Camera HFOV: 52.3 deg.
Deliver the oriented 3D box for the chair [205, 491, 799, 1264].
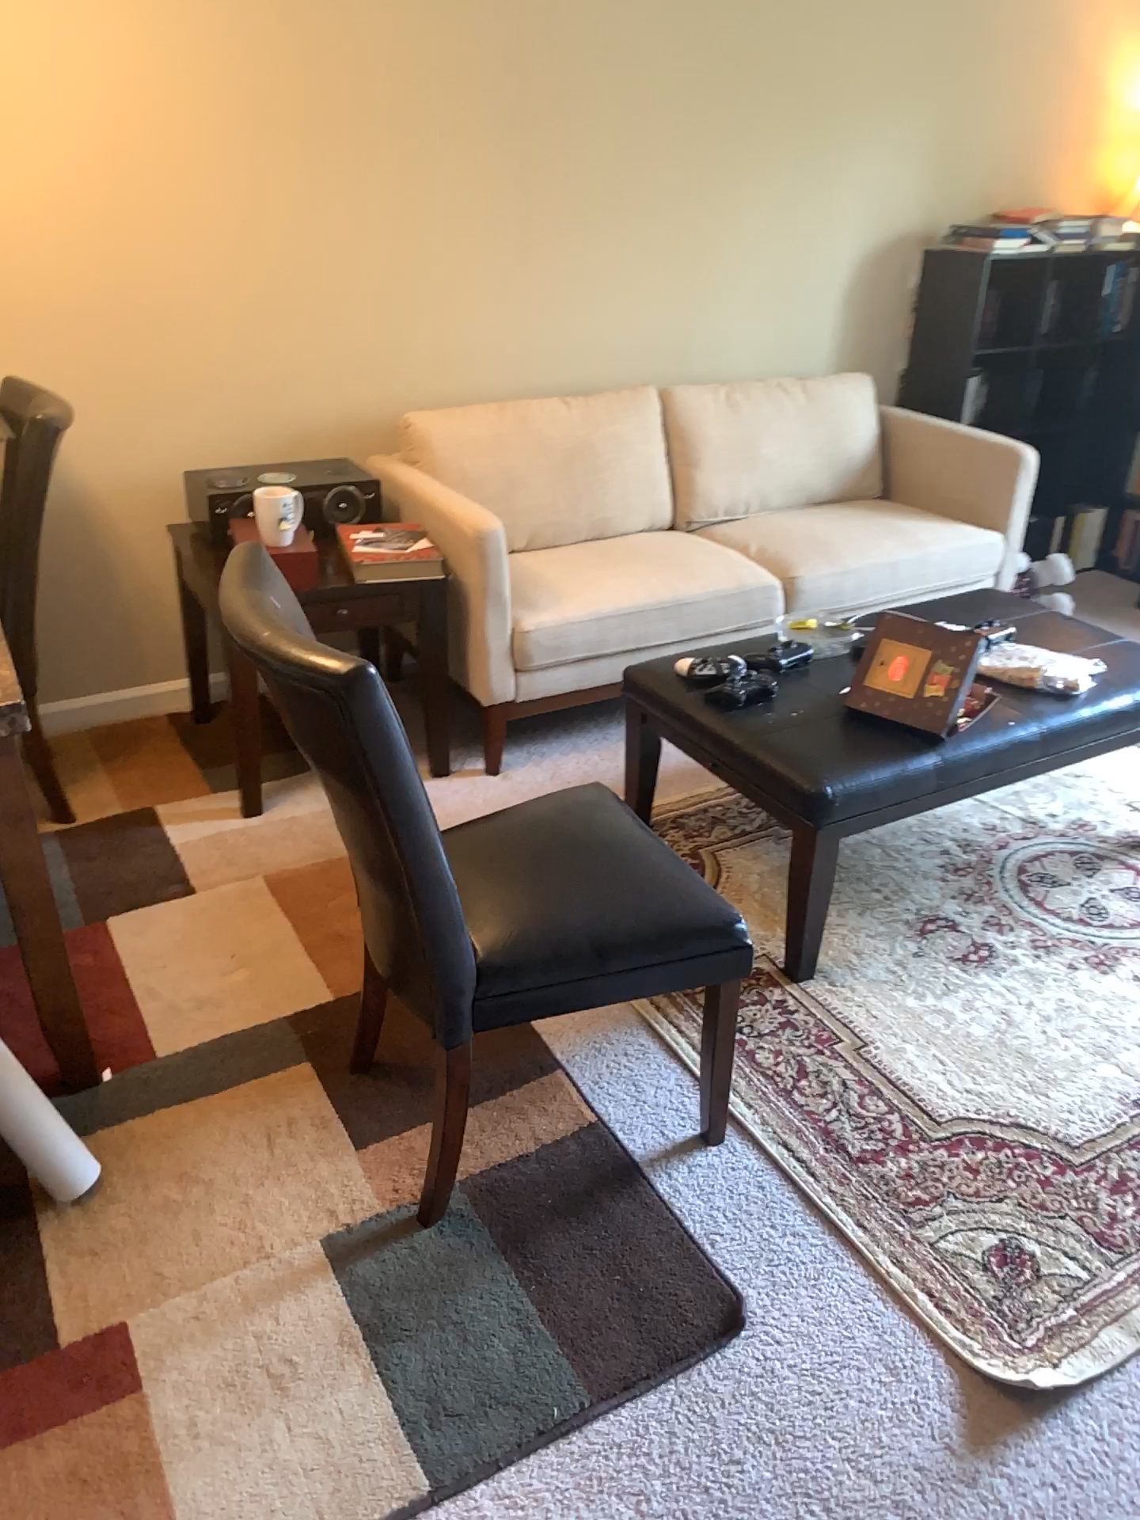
[{"bbox_3d":[-0.114,0.138,1.765,0.650,0.915,0.493,-13,30,-25],"label":"chair"}]
